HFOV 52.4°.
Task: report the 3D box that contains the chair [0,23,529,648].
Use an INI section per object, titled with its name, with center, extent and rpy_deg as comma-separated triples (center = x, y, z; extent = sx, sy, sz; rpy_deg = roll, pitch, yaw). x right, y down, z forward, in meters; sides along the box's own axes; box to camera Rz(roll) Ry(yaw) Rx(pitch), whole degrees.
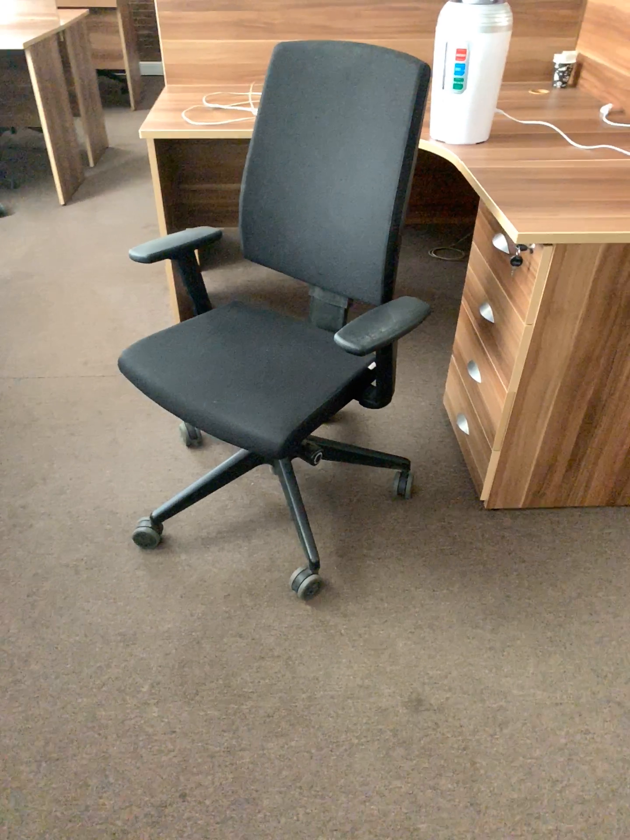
[chair]
center = -0.120, -0.242, 1.362
extent = 0.671, 0.915, 0.792
rpy_deg = 26, 45, 29
